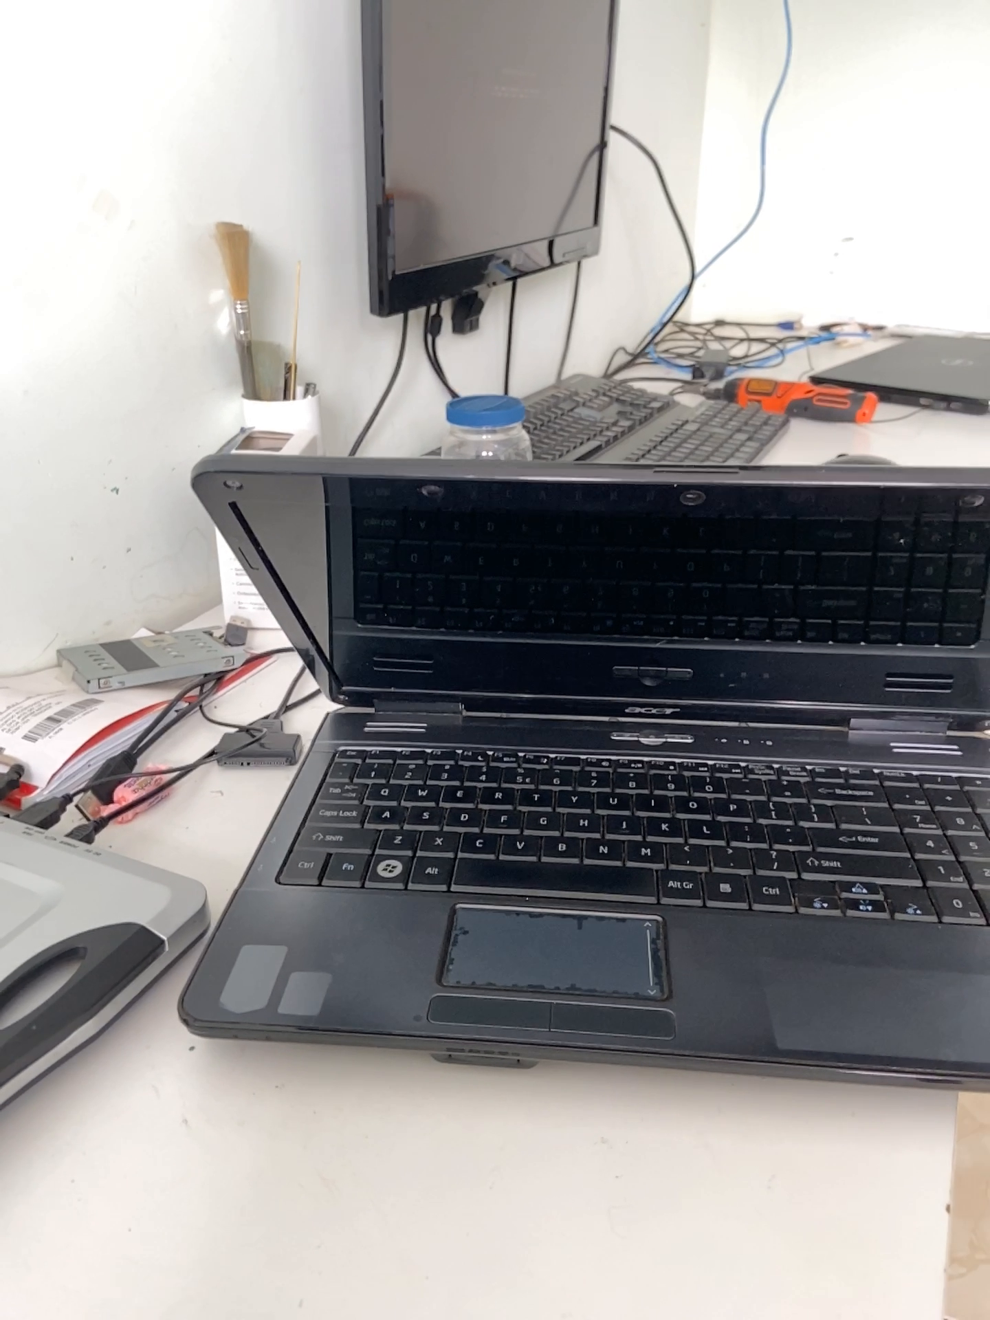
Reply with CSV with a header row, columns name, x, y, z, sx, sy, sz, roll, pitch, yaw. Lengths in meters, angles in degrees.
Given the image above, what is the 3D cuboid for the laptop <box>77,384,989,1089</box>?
name,x,y,z,sx,sy,sz,roll,pitch,yaw
laptop,0.074,0.004,0.426,0.366,0.183,0.234,2,26,6
